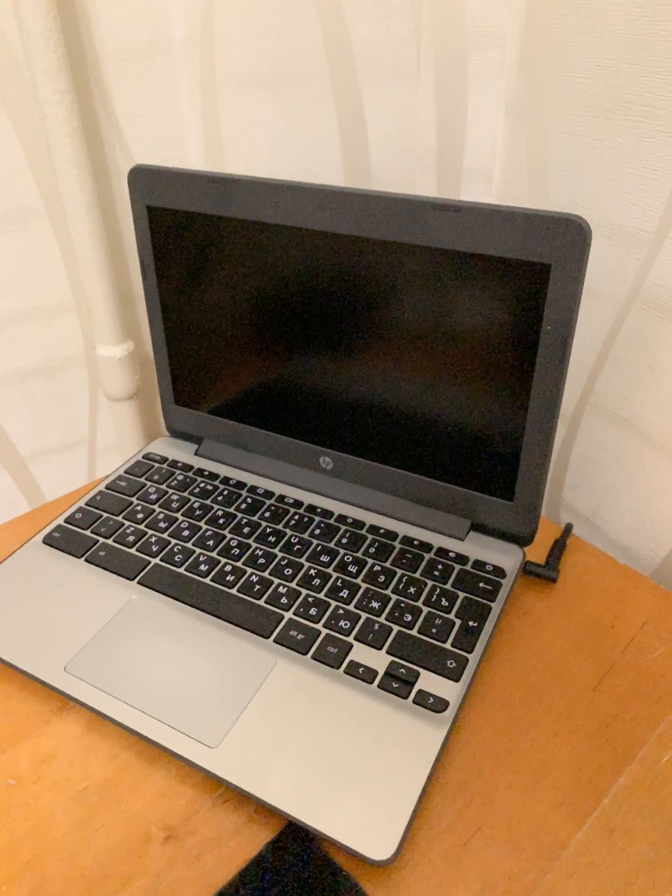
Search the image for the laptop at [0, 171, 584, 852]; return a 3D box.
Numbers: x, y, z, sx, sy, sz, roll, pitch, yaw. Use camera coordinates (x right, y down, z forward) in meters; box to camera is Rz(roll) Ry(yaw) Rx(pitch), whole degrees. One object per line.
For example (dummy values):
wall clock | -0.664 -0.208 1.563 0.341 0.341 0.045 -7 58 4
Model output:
laptop | -0.054 -0.004 0.348 0.271 0.187 0.207 16 39 24
